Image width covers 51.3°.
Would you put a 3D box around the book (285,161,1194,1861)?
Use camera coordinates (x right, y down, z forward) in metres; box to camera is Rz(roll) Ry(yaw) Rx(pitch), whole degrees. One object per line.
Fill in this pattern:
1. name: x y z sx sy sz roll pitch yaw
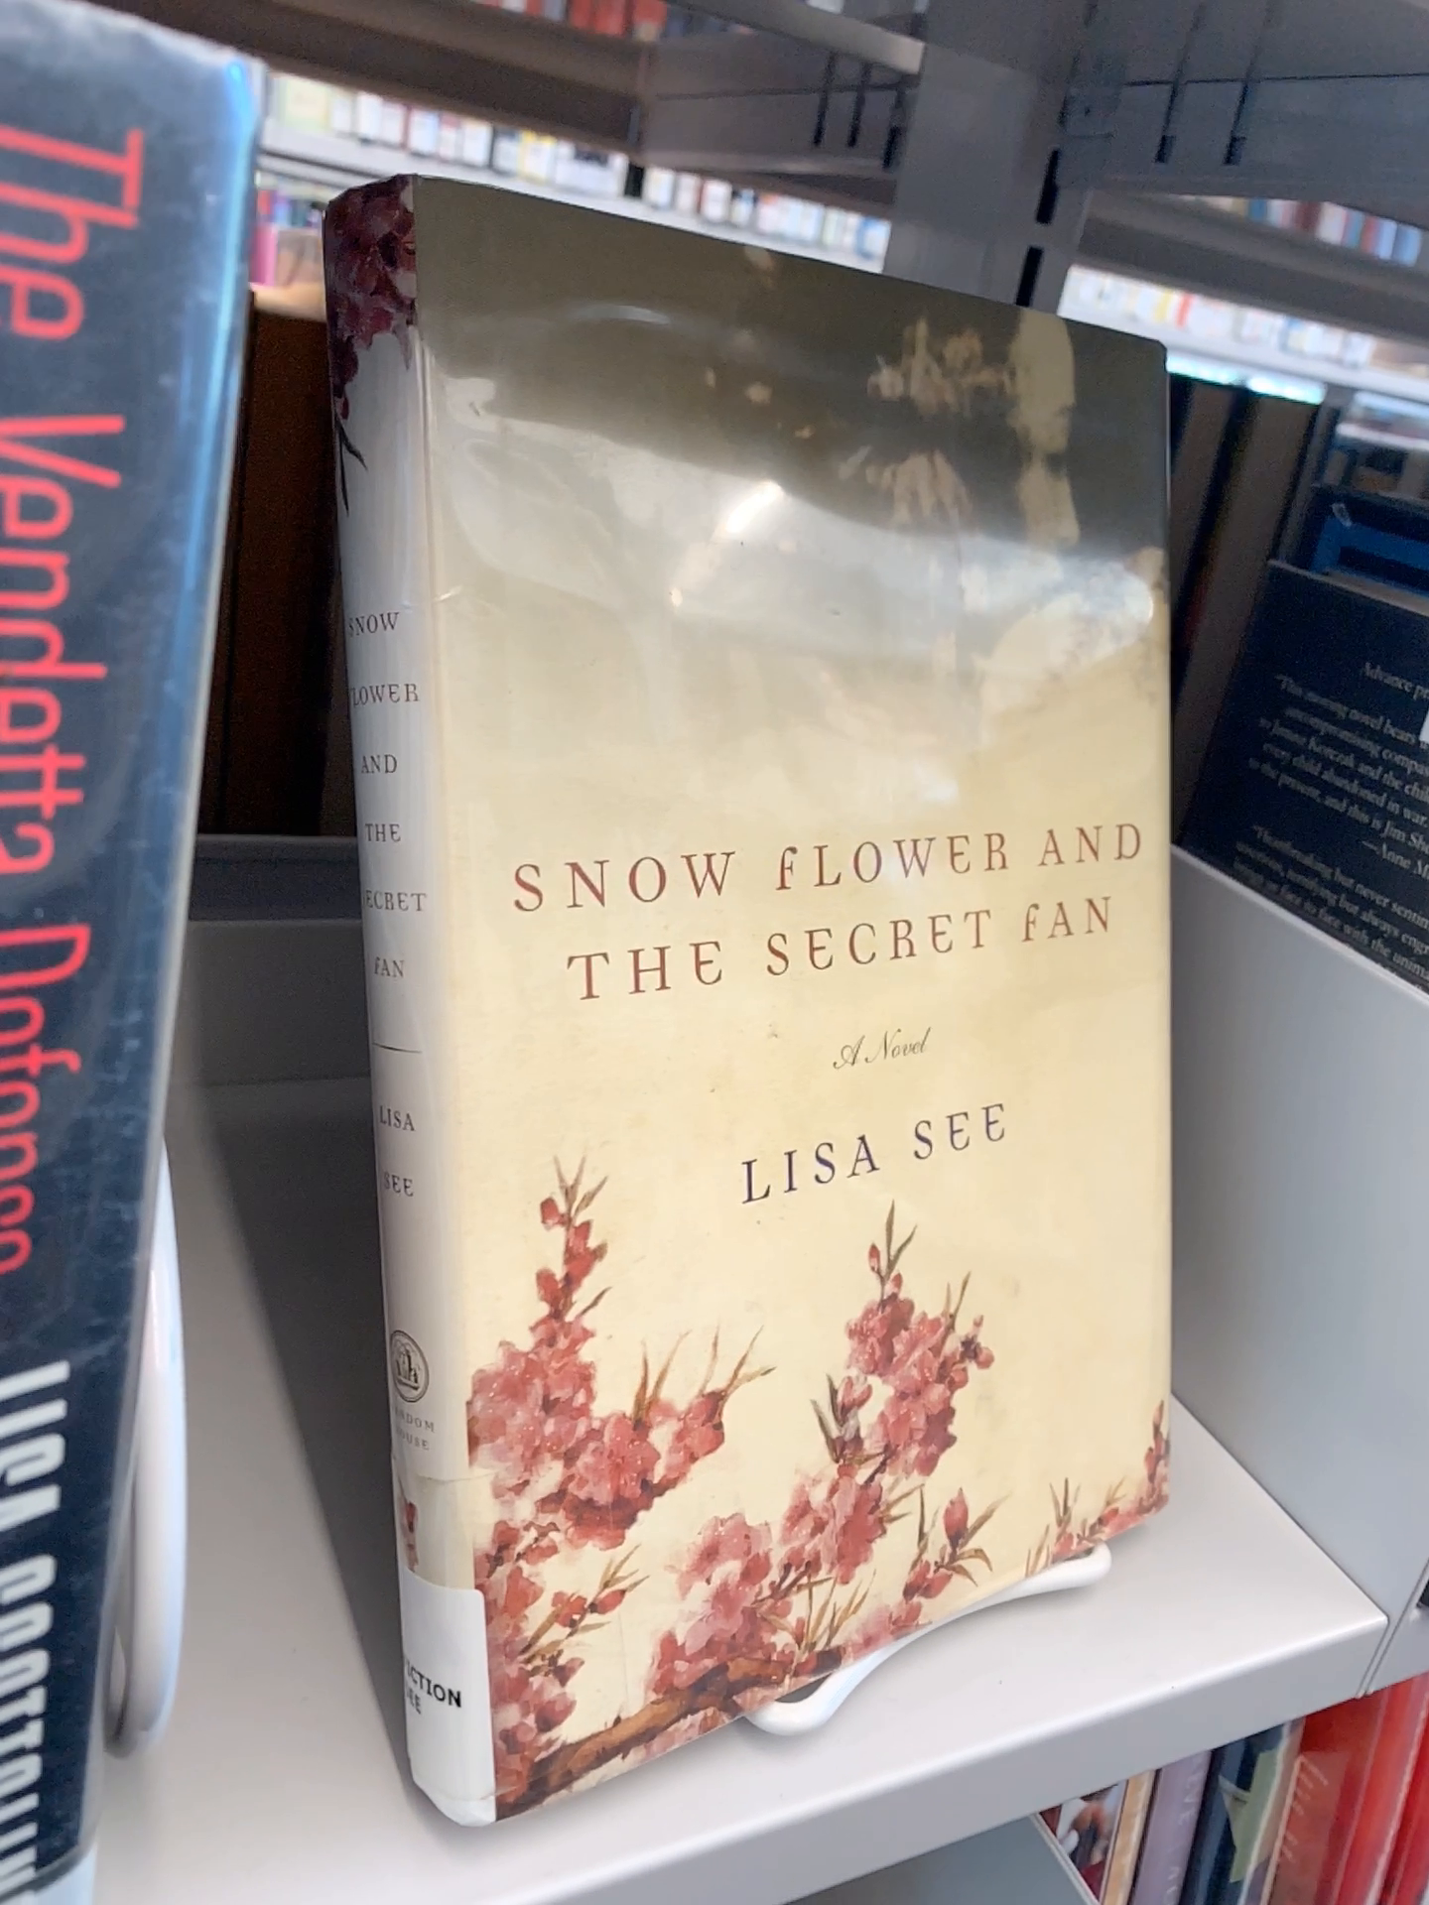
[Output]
1. book: 0.018 0.005 0.264 0.163 0.231 0.041 -7 8 -36
